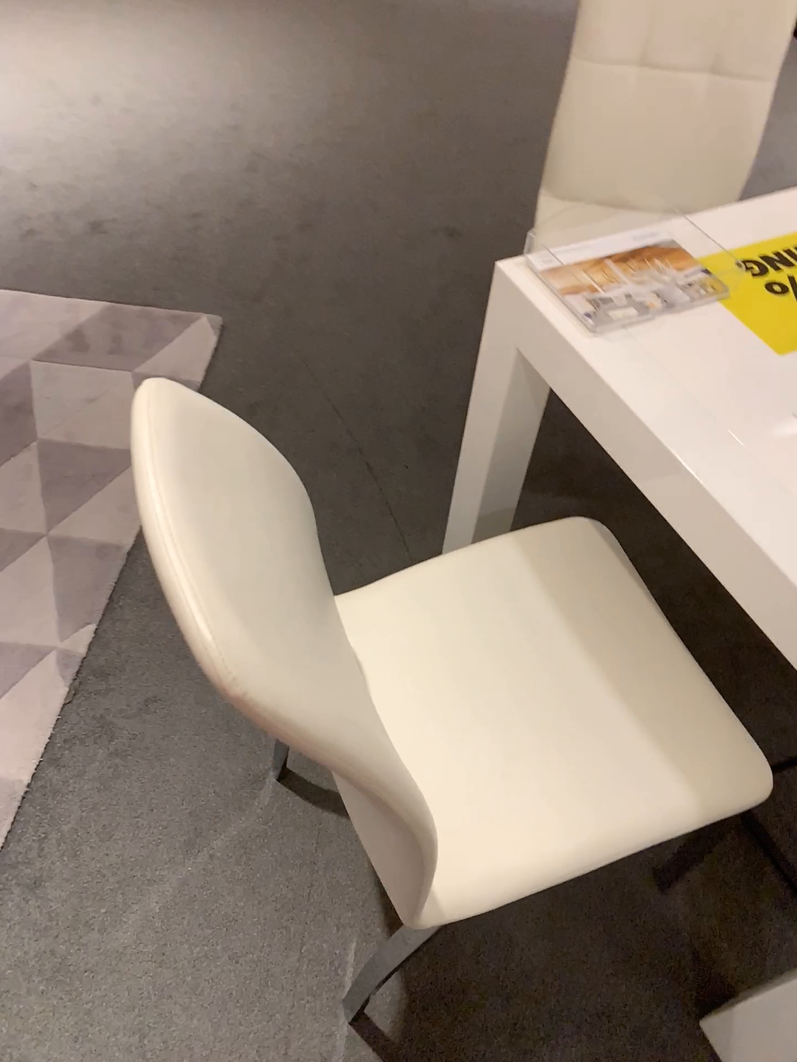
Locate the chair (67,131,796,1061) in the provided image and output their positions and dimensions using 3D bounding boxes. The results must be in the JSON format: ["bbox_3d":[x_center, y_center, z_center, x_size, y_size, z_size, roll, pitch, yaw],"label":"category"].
[{"bbox_3d":[0.105,0.166,0.940,0.644,0.957,0.482,-15,54,-15],"label":"chair"}]
